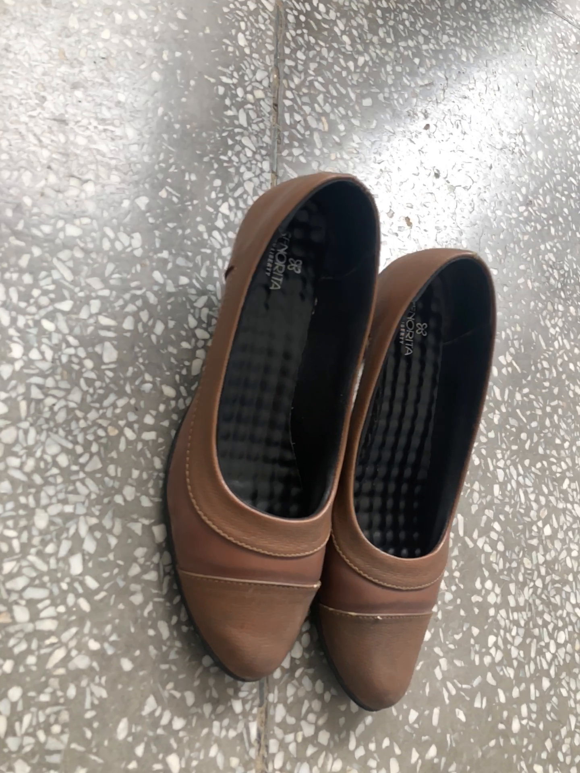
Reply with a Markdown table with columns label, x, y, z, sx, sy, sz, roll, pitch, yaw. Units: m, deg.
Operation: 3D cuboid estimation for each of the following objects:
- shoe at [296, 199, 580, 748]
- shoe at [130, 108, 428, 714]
| label | x | y | z | sx | sy | sz | roll | pitch | yaw |
| --- | --- | --- | --- | --- | --- | --- | --- | --- | --- |
| shoe | 0.067 | 0.042 | 0.341 | 0.093 | 0.096 | 0.240 | 10 | 69 | -28 |
| shoe | -0.006 | 0.012 | 0.309 | 0.090 | 0.096 | 0.244 | 11 | 69 | -28 |
